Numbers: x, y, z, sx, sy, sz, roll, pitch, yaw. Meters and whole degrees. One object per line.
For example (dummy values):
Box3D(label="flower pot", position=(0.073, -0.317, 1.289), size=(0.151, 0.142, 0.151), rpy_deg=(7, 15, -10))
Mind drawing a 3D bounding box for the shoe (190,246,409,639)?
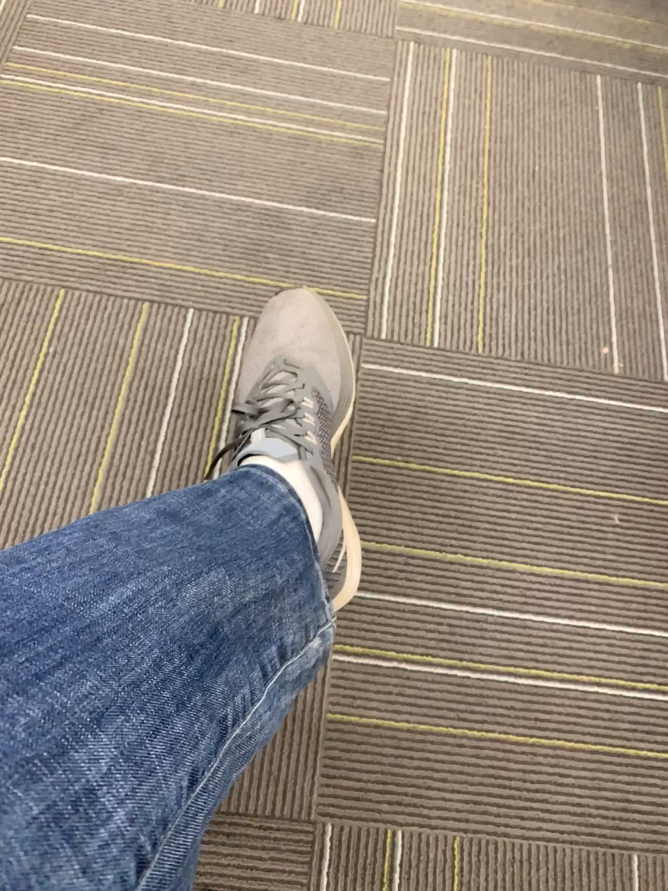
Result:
Box3D(label="shoe", position=(-0.036, -0.001, 0.598), size=(0.126, 0.115, 0.298), rpy_deg=(-17, 63, 20))

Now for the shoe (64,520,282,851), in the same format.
Box3D(label="shoe", position=(-0.171, 0.274, 0.814), size=(0.123, 0.180, 0.310), rpy_deg=(17, 67, 1))
